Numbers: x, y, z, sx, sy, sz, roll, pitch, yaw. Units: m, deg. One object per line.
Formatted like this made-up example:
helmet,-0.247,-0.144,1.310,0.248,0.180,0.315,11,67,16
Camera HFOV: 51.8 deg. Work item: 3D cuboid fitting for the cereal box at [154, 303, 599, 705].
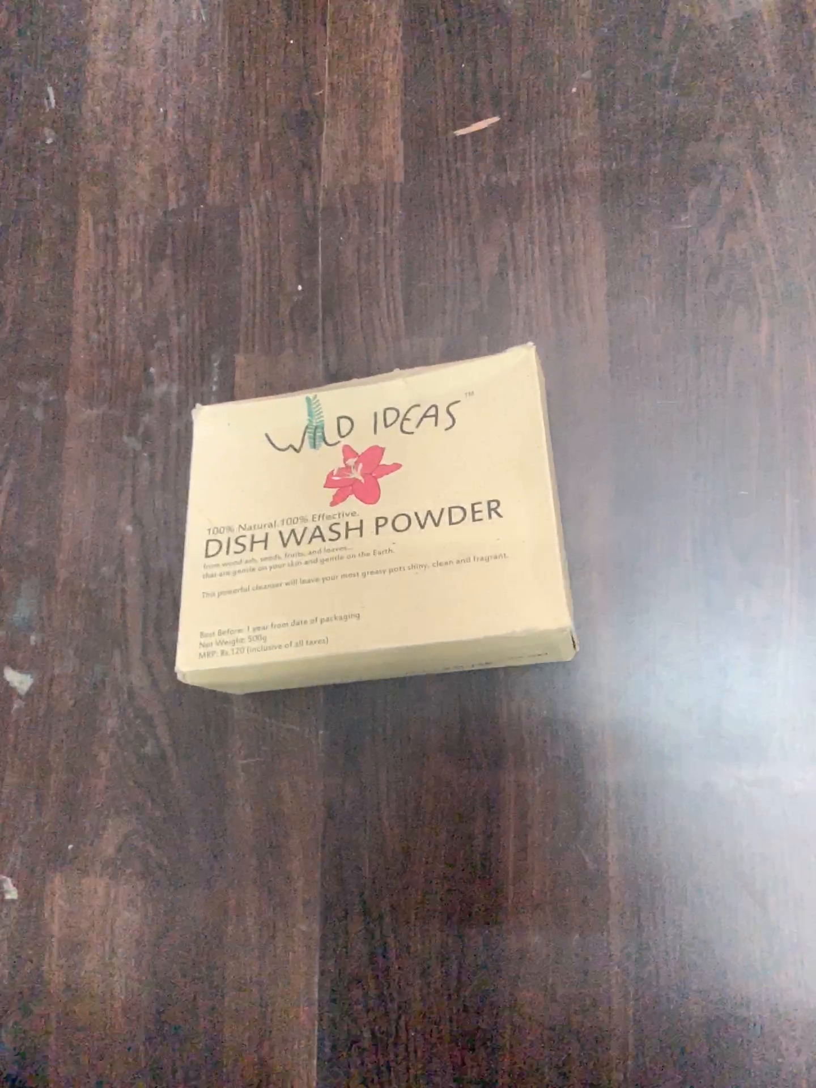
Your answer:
cereal box,-0.014,-0.015,0.388,0.180,0.060,0.150,-8,66,12
